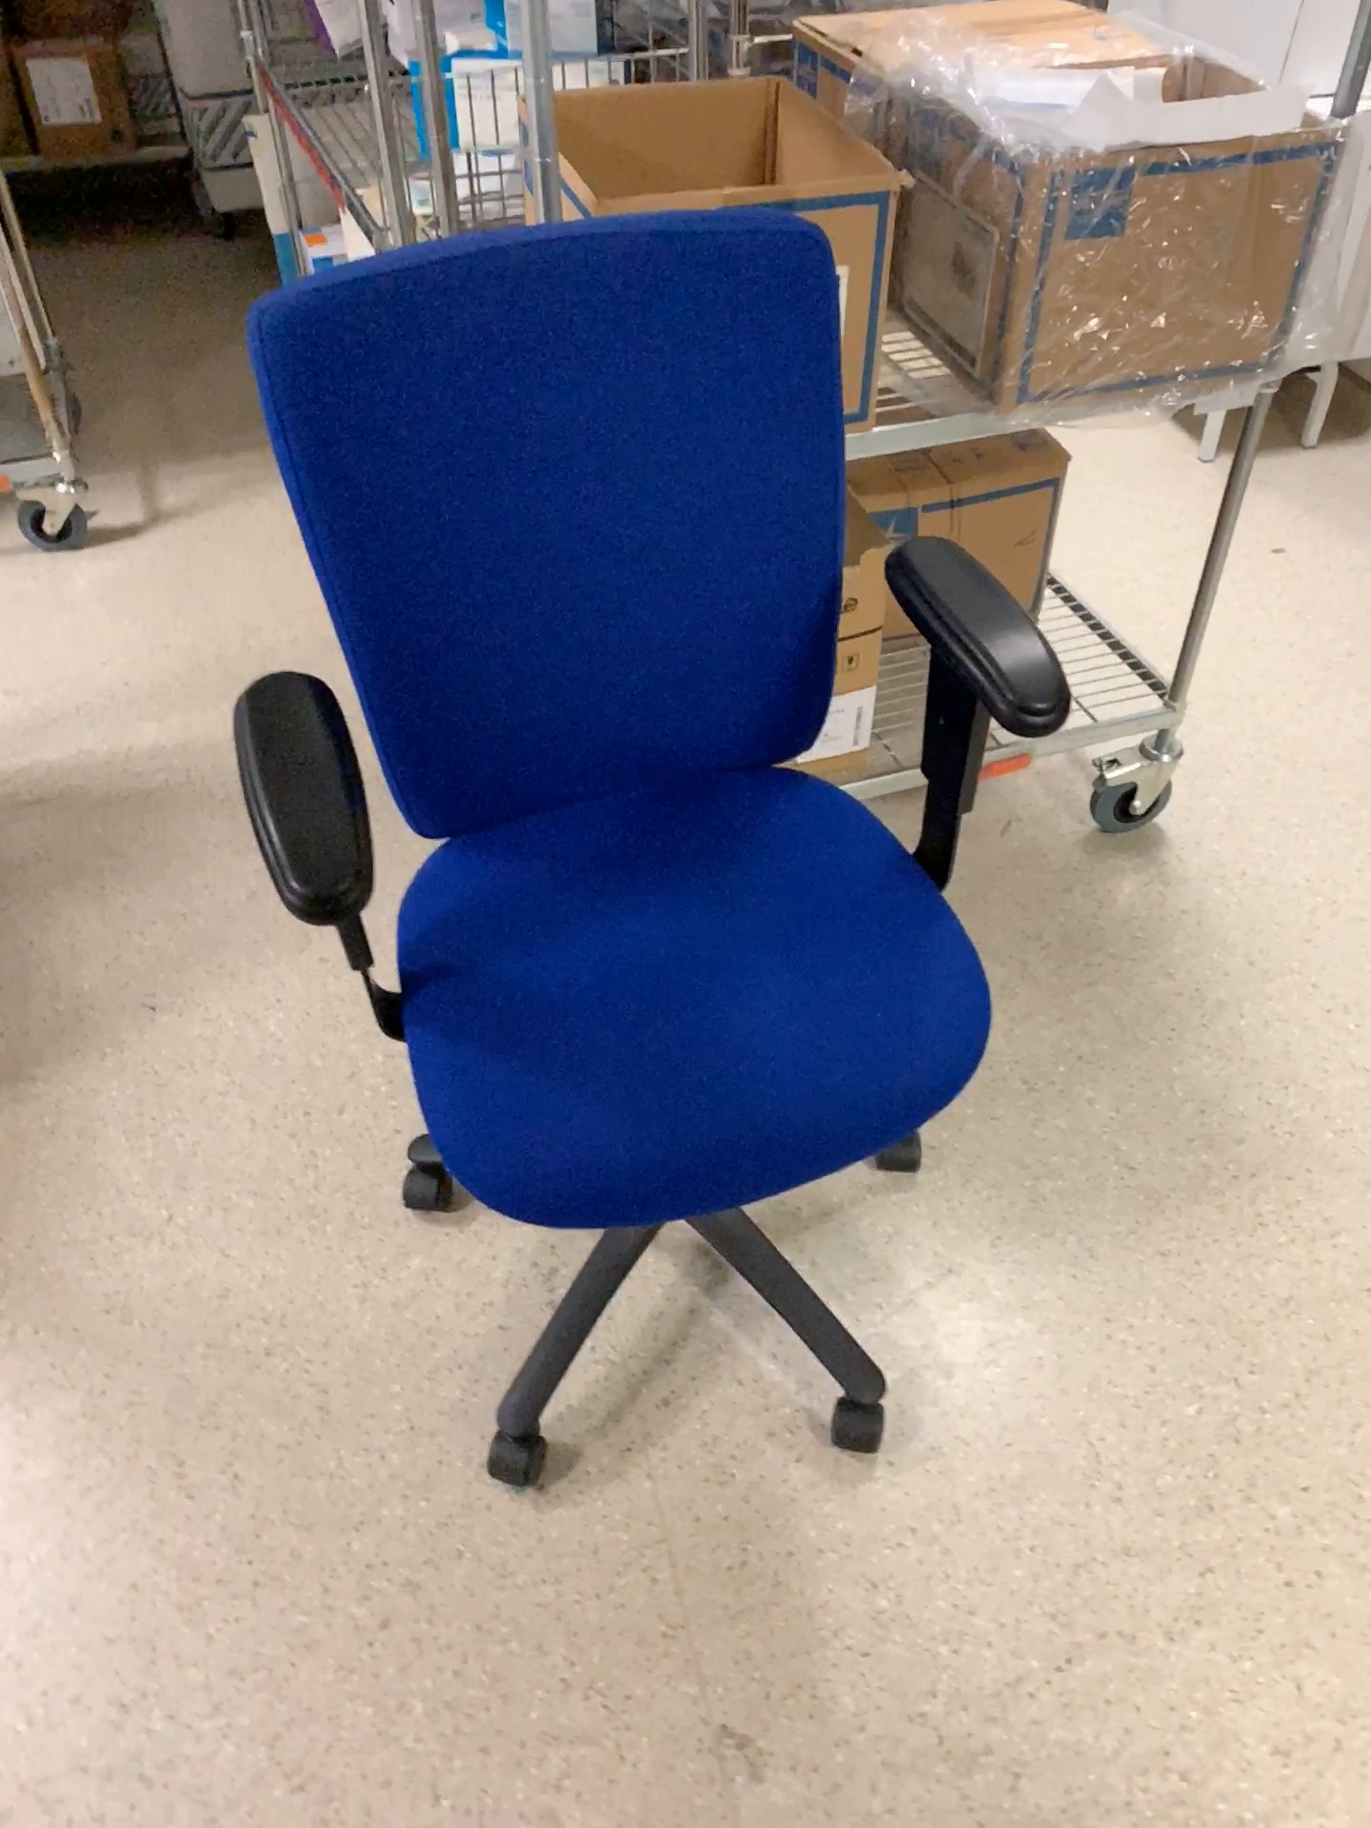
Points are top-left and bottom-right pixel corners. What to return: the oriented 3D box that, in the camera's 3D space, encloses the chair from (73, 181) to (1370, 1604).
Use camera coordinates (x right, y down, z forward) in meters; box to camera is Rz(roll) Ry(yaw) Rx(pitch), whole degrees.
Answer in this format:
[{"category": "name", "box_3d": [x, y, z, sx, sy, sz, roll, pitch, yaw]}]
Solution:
[{"category": "chair", "box_3d": [-0.034, -0.007, 1.242, 0.678, 0.950, 0.672, -12, 45, -12]}]
